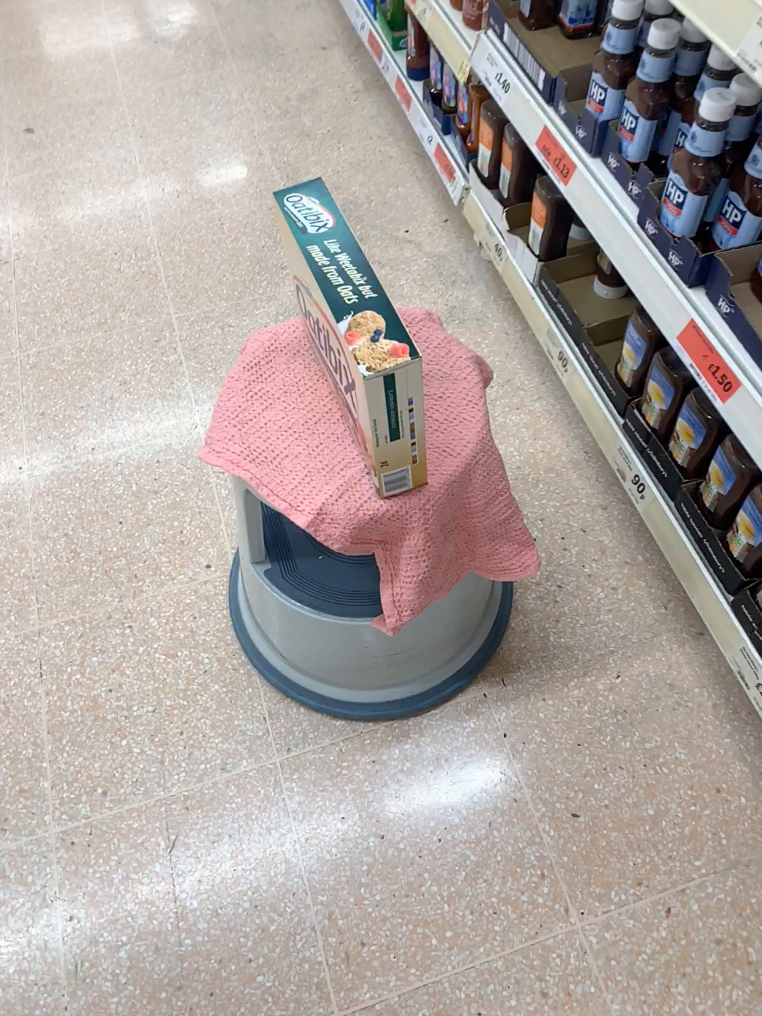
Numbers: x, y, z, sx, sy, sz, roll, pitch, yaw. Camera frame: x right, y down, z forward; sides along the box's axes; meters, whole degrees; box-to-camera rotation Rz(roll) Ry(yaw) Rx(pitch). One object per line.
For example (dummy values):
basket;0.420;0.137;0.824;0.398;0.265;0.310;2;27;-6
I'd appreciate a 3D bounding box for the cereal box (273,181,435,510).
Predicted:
cereal box;-0.026;-0.164;0.787;0.060;0.189;0.272;-19;58;-6
